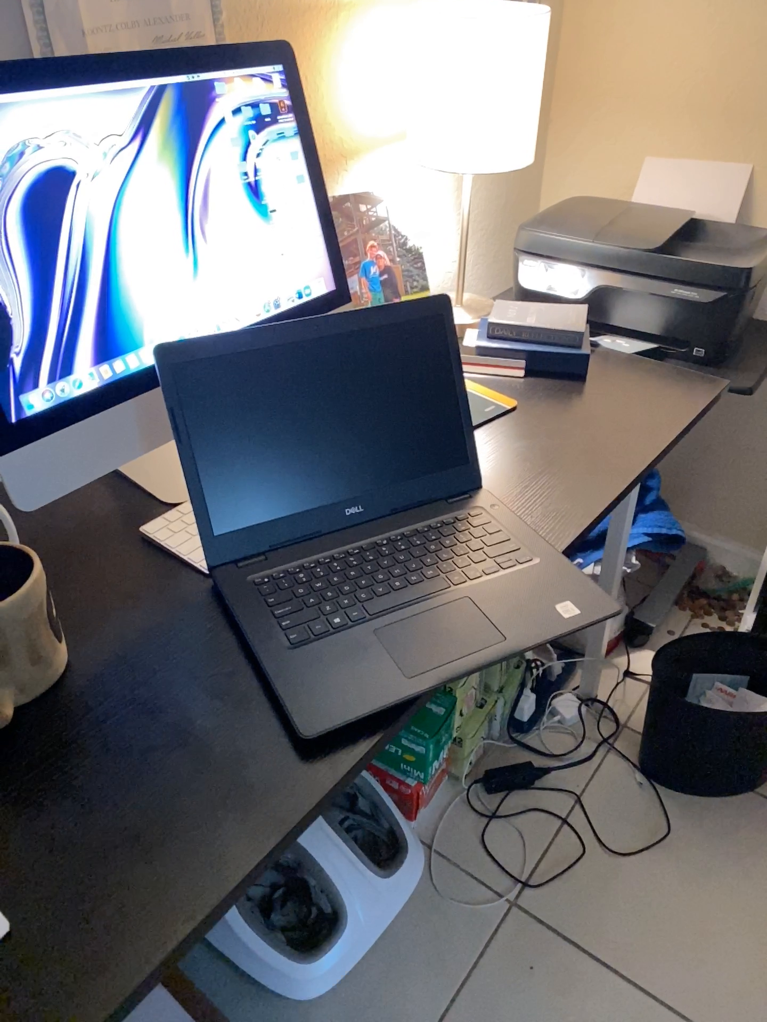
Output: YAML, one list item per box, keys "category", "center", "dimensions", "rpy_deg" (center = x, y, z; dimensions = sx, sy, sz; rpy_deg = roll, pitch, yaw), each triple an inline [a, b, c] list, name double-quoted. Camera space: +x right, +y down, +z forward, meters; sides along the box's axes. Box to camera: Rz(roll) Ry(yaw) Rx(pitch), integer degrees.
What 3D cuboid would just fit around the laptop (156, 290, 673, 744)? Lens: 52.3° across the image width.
- category: "laptop"
  center: [0.007, -0.032, 0.758]
  dimensions: [0.337, 0.206, 0.344]
  rpy_deg: [-17, 38, -22]
